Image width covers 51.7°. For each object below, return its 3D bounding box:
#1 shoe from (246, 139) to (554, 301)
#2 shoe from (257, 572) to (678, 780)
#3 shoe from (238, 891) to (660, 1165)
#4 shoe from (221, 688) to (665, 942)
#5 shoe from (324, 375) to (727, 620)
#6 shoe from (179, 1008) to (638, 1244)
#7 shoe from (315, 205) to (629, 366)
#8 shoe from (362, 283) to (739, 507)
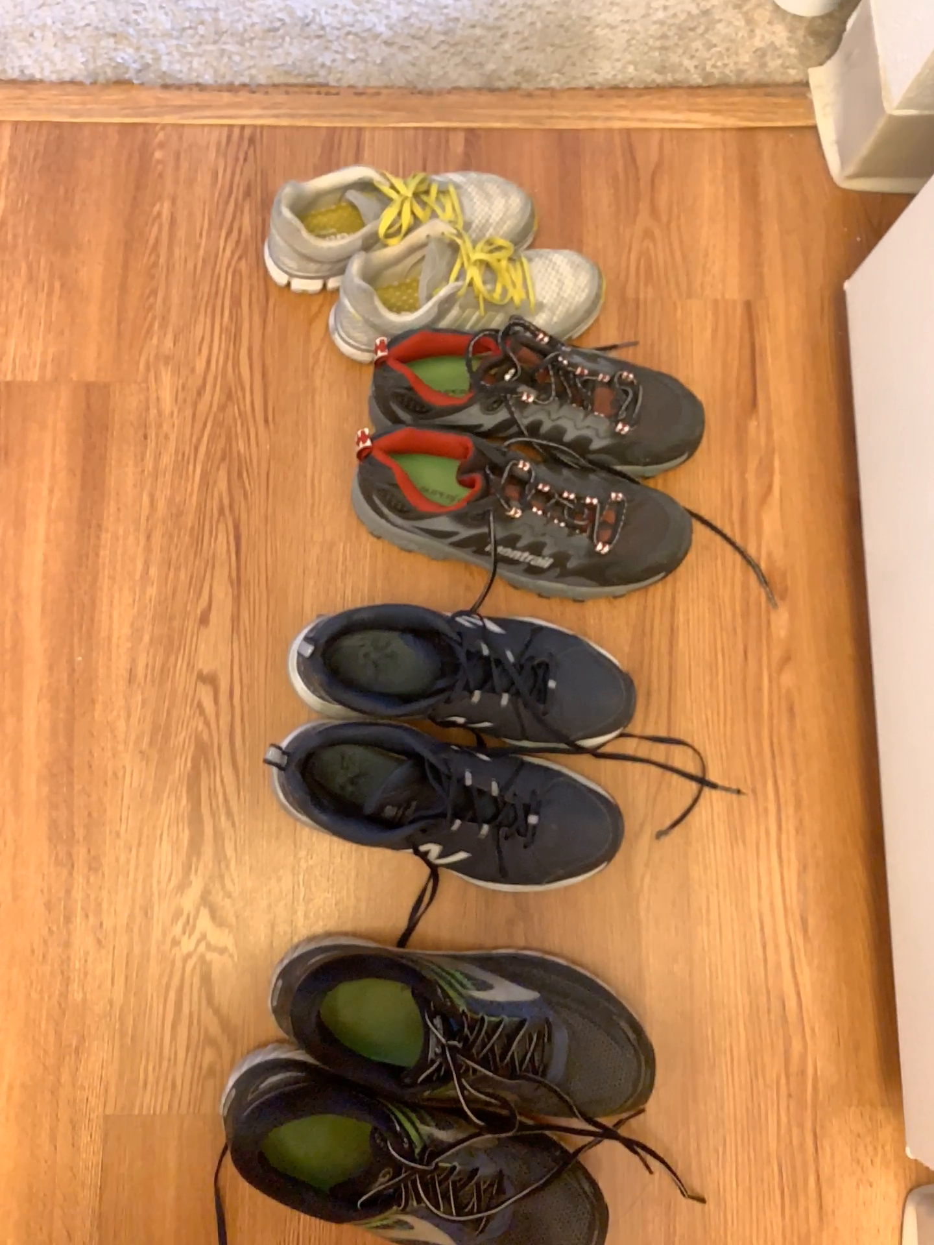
[{"bbox_3d":[-0.062,-0.379,0.911,0.270,0.080,0.080,-9,80,-4],"label":"shoe"},{"bbox_3d":[0.001,0.048,0.785,0.310,0.100,0.120,7,79,-1],"label":"shoe"},{"bbox_3d":[-0.014,0.310,0.758,0.290,0.110,0.110,15,79,1],"label":"shoe"},{"bbox_3d":[-0.017,0.150,0.763,0.310,0.100,0.120,13,79,0],"label":"shoe"},{"bbox_3d":[0.048,-0.103,0.828,0.310,0.090,0.120,13,79,0],"label":"shoe"},{"bbox_3d":[-0.043,0.422,0.746,0.310,0.110,0.110,21,79,2],"label":"shoe"},{"bbox_3d":[0.003,-0.311,0.895,0.270,0.080,0.080,-9,80,-4],"label":"shoe"},{"bbox_3d":[0.070,-0.196,0.844,0.300,0.090,0.100,13,79,0],"label":"shoe"}]
